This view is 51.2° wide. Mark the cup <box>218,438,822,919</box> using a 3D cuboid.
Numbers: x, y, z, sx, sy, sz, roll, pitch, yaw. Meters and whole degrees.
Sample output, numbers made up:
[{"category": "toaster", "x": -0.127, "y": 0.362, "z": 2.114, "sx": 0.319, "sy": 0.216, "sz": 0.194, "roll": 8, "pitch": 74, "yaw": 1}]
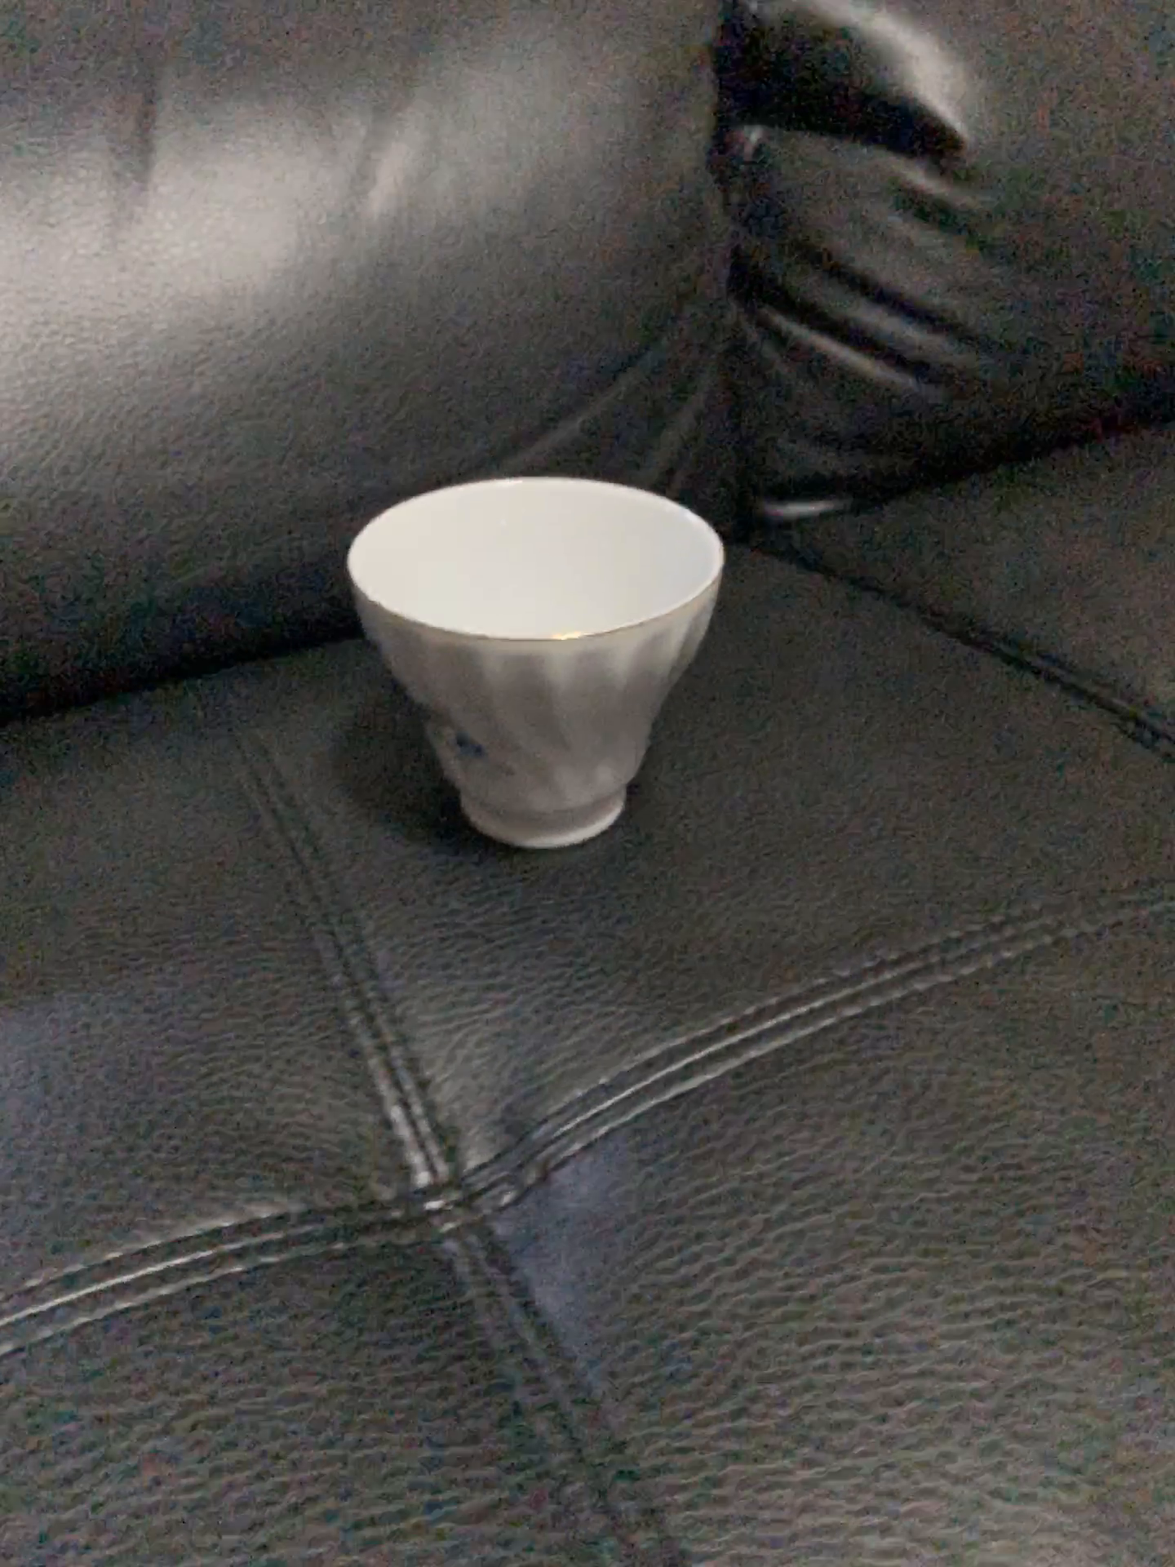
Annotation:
[{"category": "cup", "x": -0.019, "y": -0.036, "z": 0.308, "sx": 0.094, "sy": 0.059, "sz": 0.114, "roll": -25, "pitch": 40, "yaw": -35}]
